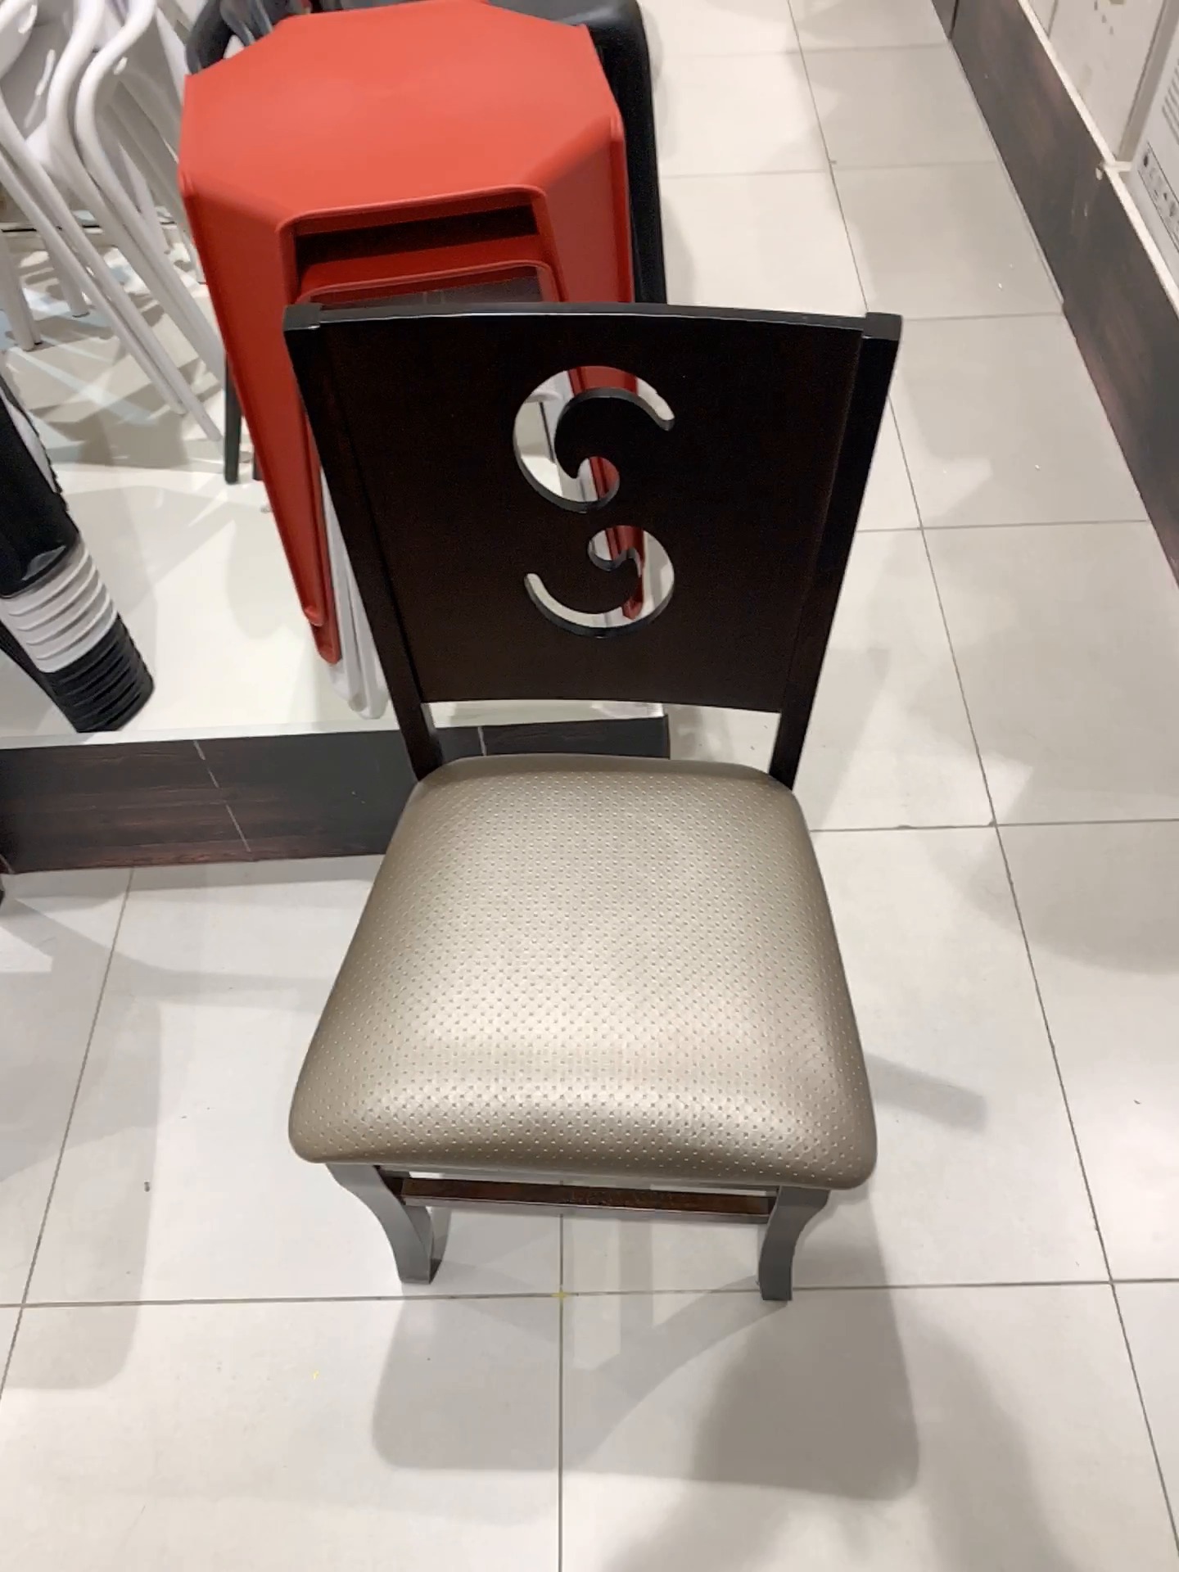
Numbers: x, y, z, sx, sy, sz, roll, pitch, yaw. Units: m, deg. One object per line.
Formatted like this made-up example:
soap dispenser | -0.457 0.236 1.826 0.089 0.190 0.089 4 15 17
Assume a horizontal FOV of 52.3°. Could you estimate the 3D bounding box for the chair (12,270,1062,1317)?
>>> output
chair | -0.015 0.086 1.067 0.500 0.848 0.521 0 53 1
